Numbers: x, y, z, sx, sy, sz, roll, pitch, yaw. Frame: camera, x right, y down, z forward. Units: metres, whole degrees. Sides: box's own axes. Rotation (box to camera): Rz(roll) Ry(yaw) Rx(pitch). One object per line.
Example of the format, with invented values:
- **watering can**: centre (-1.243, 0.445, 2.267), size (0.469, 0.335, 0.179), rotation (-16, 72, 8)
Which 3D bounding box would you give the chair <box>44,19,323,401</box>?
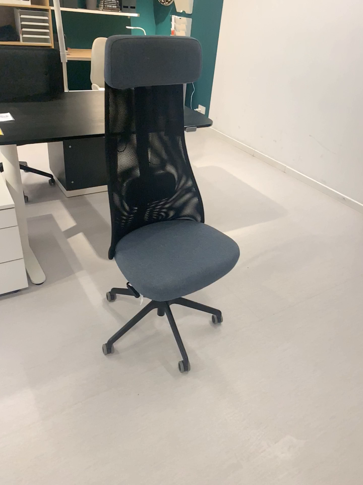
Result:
- **chair**: centre (-0.080, -0.150, 1.596), size (0.641, 1.304, 0.732), rotation (-18, 40, -33)
